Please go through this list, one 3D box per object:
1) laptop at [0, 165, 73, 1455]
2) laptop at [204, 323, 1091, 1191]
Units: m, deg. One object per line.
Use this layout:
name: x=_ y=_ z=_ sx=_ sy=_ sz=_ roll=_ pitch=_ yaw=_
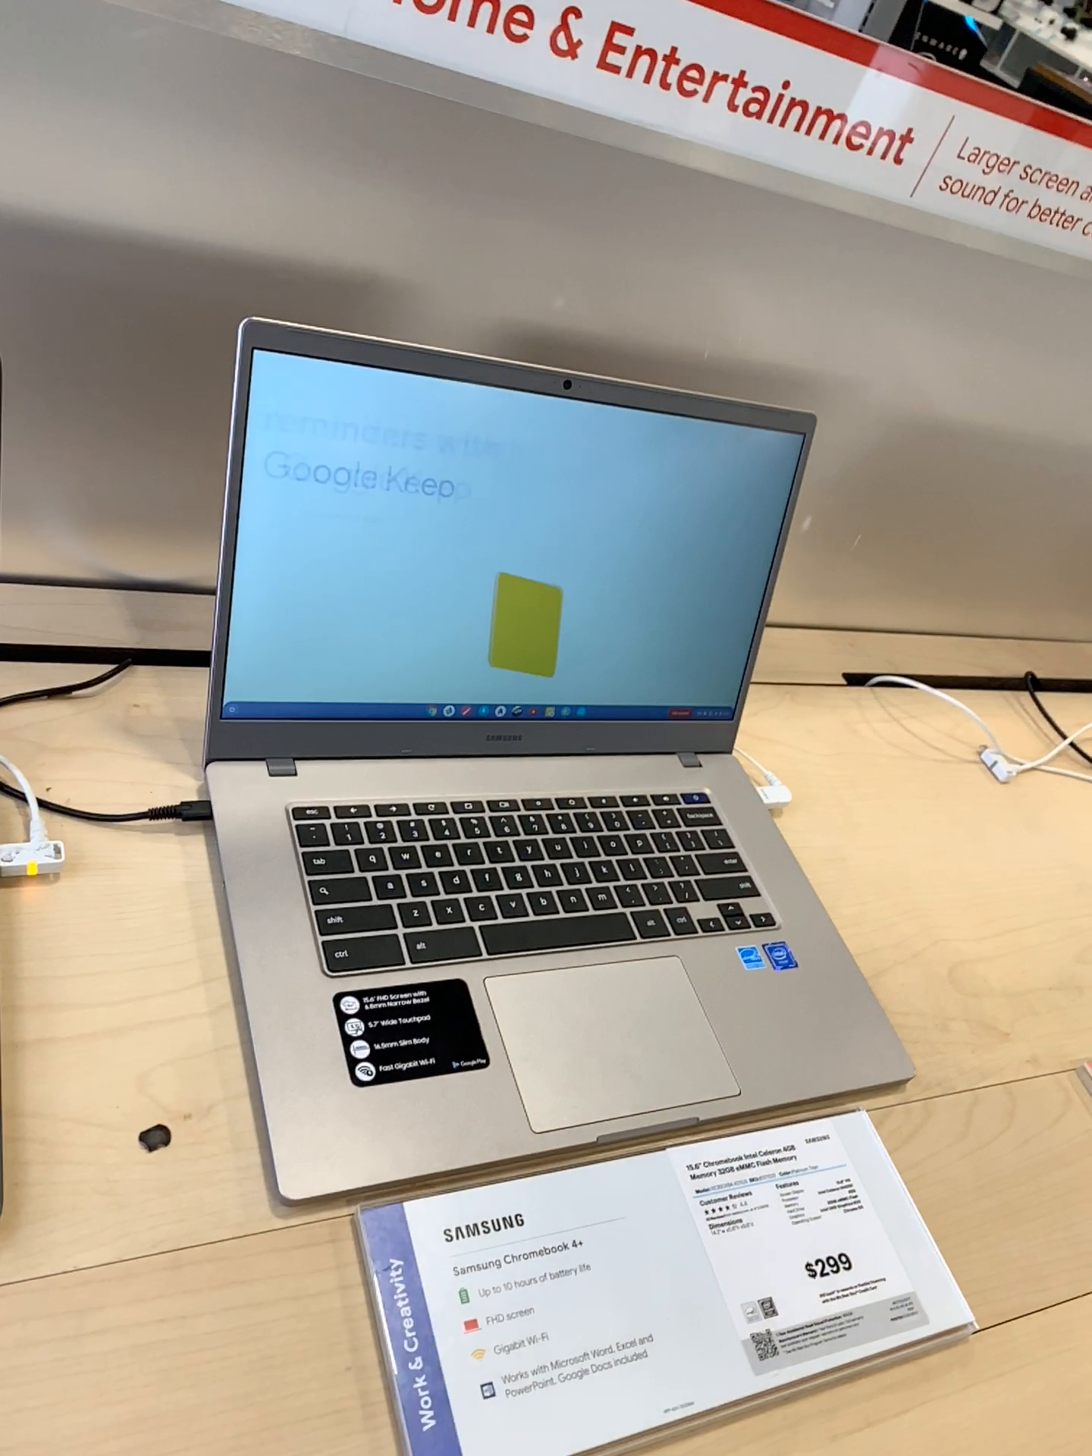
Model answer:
laptop: x=-0.337 y=0.008 z=0.361 sx=0.301 sy=0.191 sz=0.288 roll=-1 pitch=45 yaw=-28
laptop: x=0.034 y=-0.002 z=0.571 sx=0.340 sy=0.200 sz=0.326 roll=0 pitch=47 yaw=-27
